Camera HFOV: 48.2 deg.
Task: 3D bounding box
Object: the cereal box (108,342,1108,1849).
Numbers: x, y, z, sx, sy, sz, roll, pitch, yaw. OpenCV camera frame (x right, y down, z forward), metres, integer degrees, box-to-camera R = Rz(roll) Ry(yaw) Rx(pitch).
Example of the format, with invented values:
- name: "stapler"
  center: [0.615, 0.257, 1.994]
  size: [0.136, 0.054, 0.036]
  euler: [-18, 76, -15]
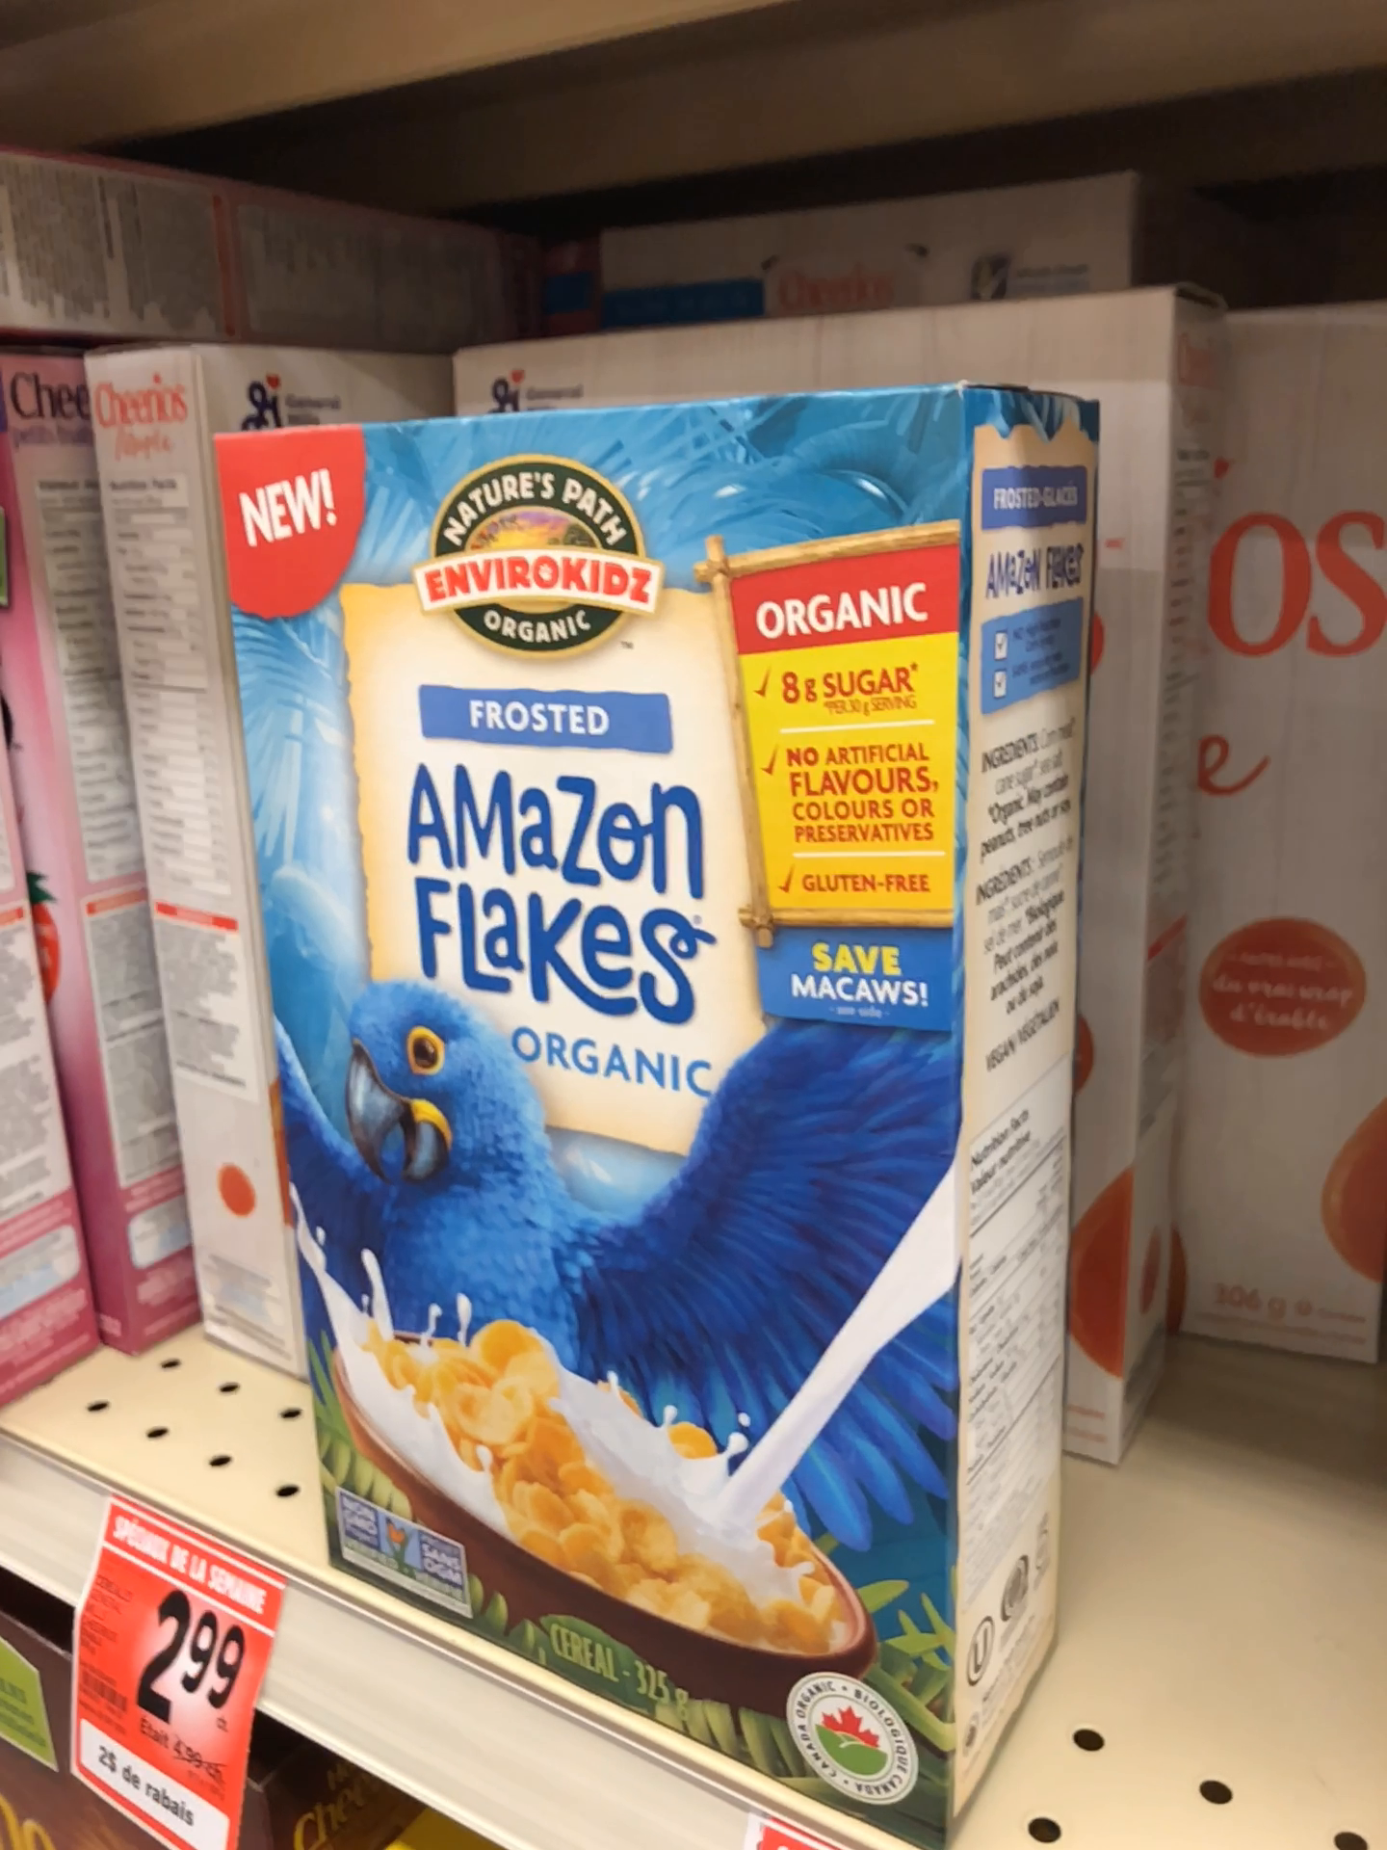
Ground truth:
- name: "cereal box"
  center: [-0.017, 0.030, 0.292]
  size: [0.170, 0.249, 0.050]
  euler: [8, 19, 32]
